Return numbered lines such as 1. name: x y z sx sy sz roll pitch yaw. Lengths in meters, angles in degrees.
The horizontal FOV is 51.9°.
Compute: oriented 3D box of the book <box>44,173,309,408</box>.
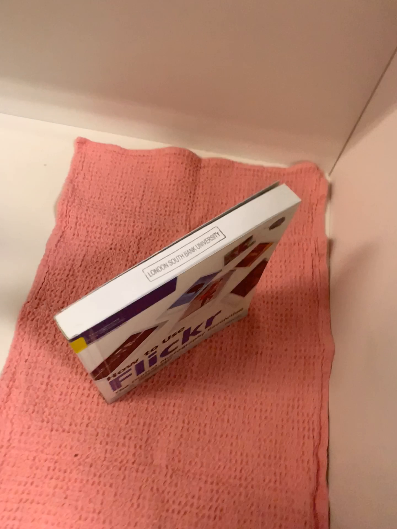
1. book: -0.015 0.042 0.364 0.191 0.228 0.025 -31 69 -20
